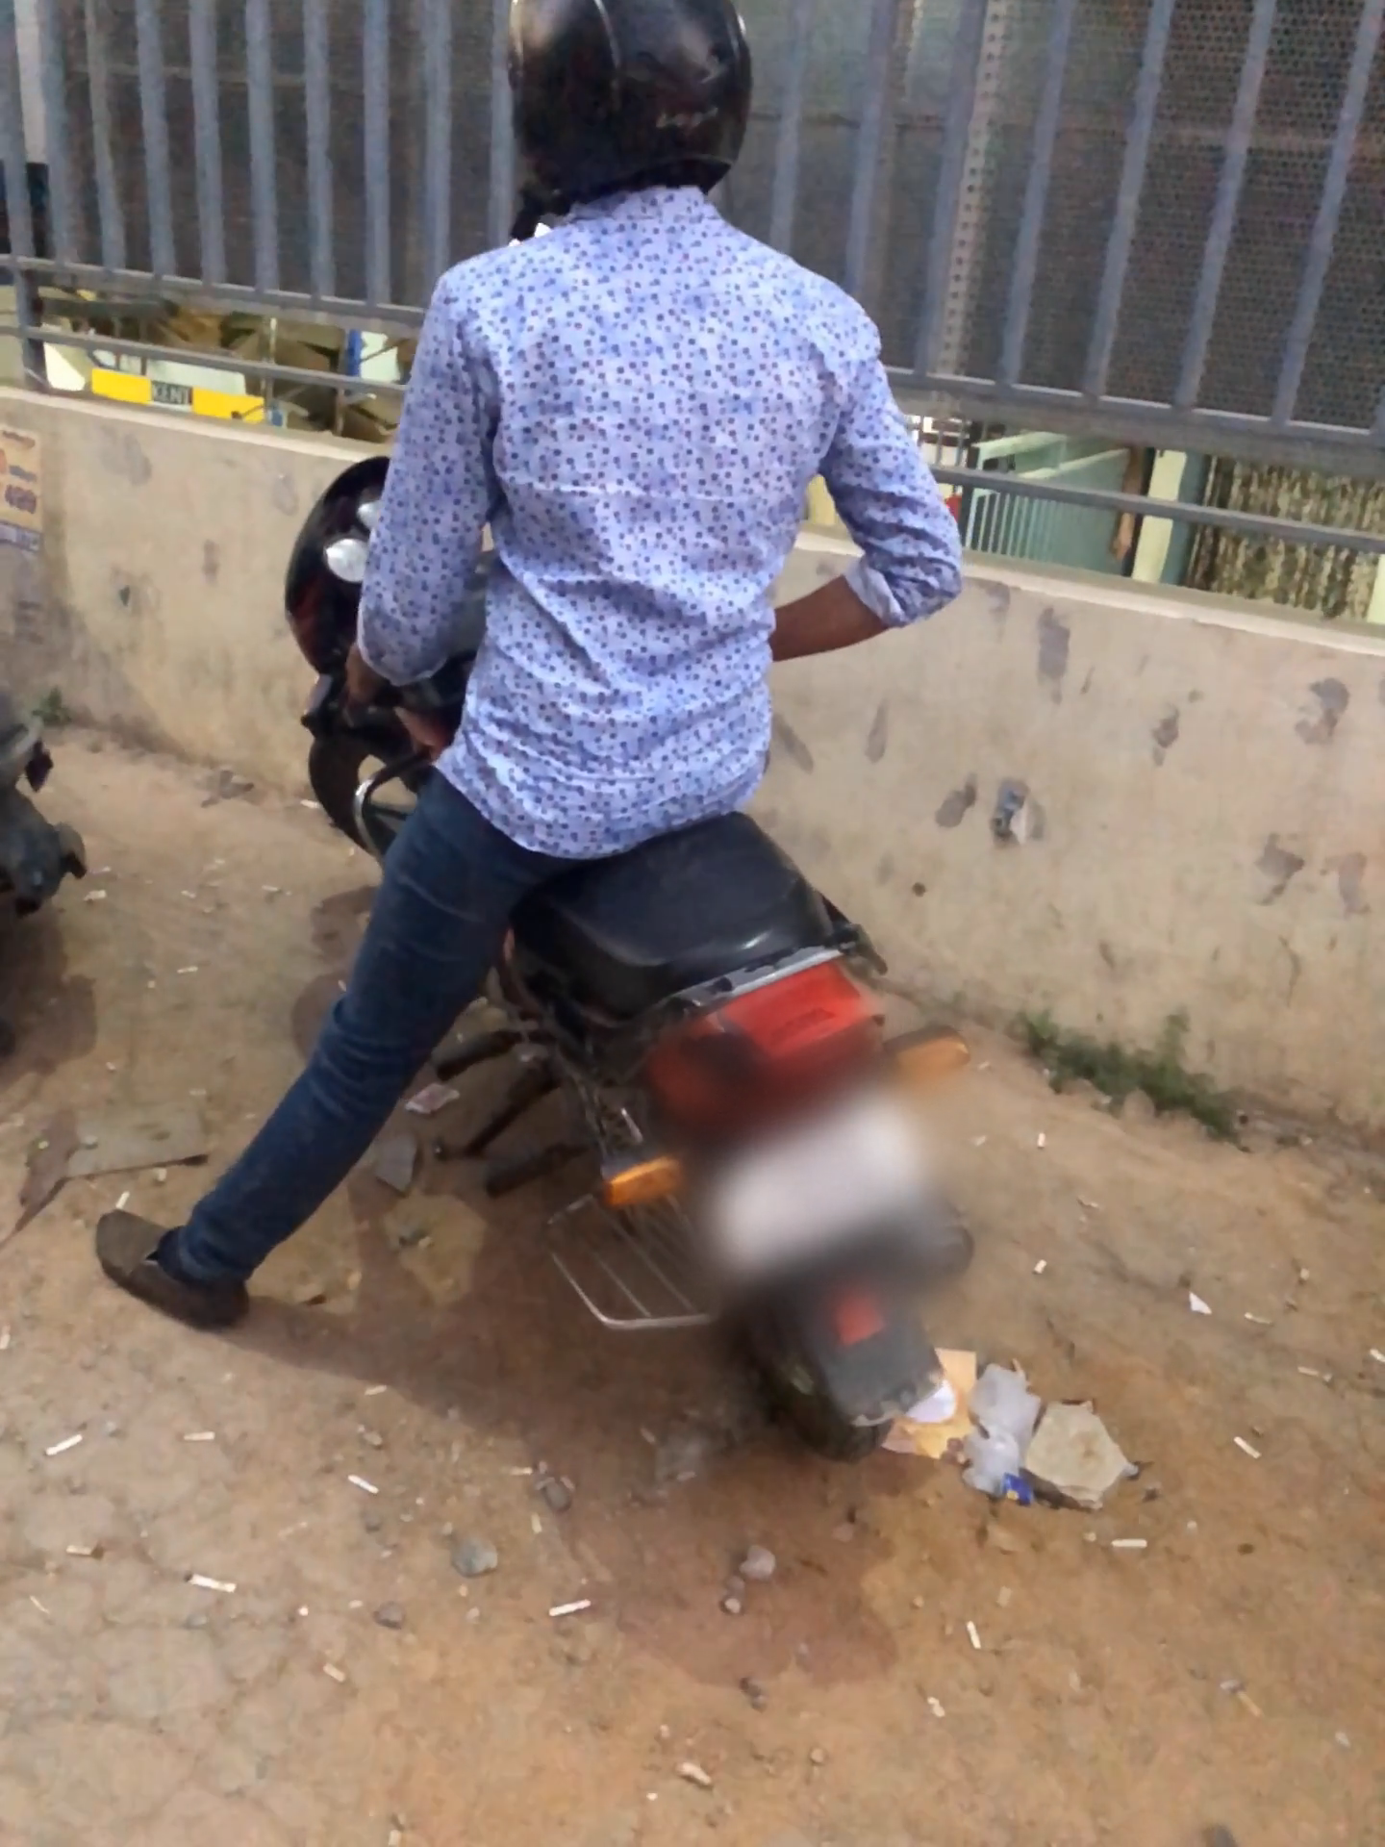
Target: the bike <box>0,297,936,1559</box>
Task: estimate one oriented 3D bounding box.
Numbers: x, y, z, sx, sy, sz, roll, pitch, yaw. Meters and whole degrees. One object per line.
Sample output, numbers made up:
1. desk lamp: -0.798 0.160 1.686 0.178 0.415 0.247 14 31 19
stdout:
1. bike: -0.476 -0.172 2.005 0.425 0.830 1.657 -12 36 -33
